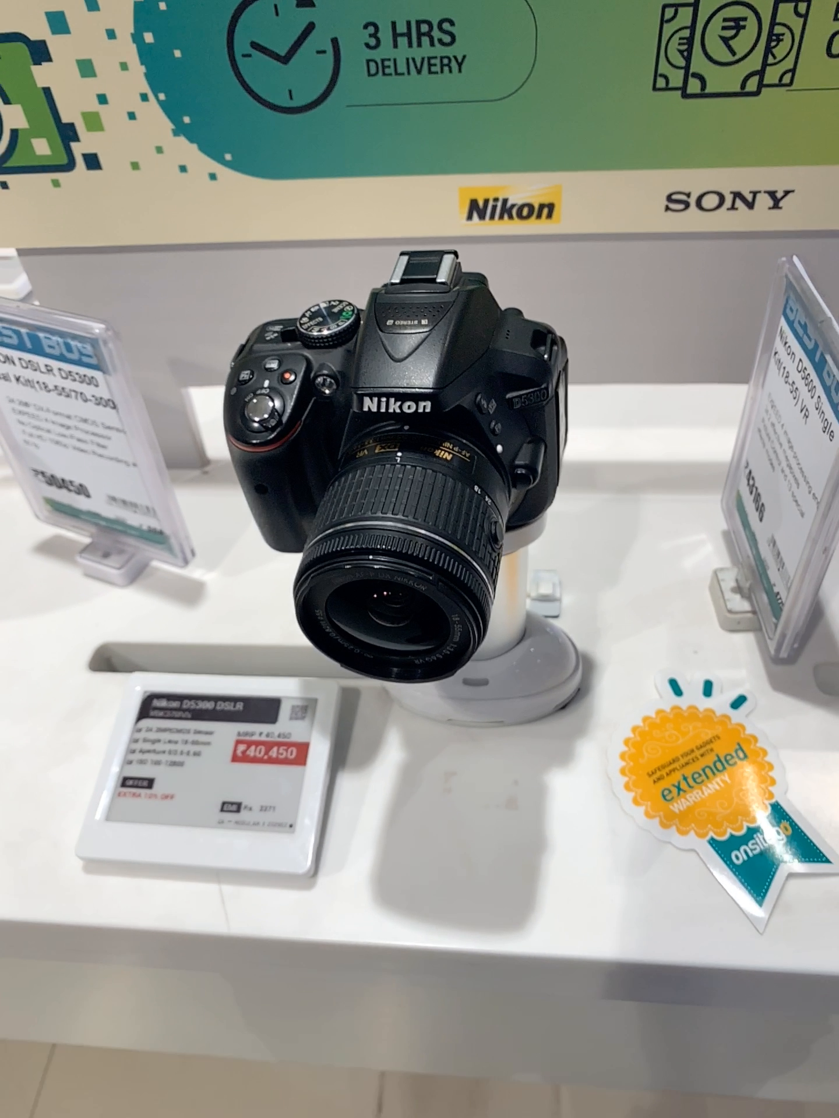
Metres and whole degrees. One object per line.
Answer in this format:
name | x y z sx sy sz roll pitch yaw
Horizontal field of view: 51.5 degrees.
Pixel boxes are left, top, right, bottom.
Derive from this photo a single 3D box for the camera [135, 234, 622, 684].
camera | -0.004 -0.036 0.281 0.118 0.082 0.123 1 45 6
